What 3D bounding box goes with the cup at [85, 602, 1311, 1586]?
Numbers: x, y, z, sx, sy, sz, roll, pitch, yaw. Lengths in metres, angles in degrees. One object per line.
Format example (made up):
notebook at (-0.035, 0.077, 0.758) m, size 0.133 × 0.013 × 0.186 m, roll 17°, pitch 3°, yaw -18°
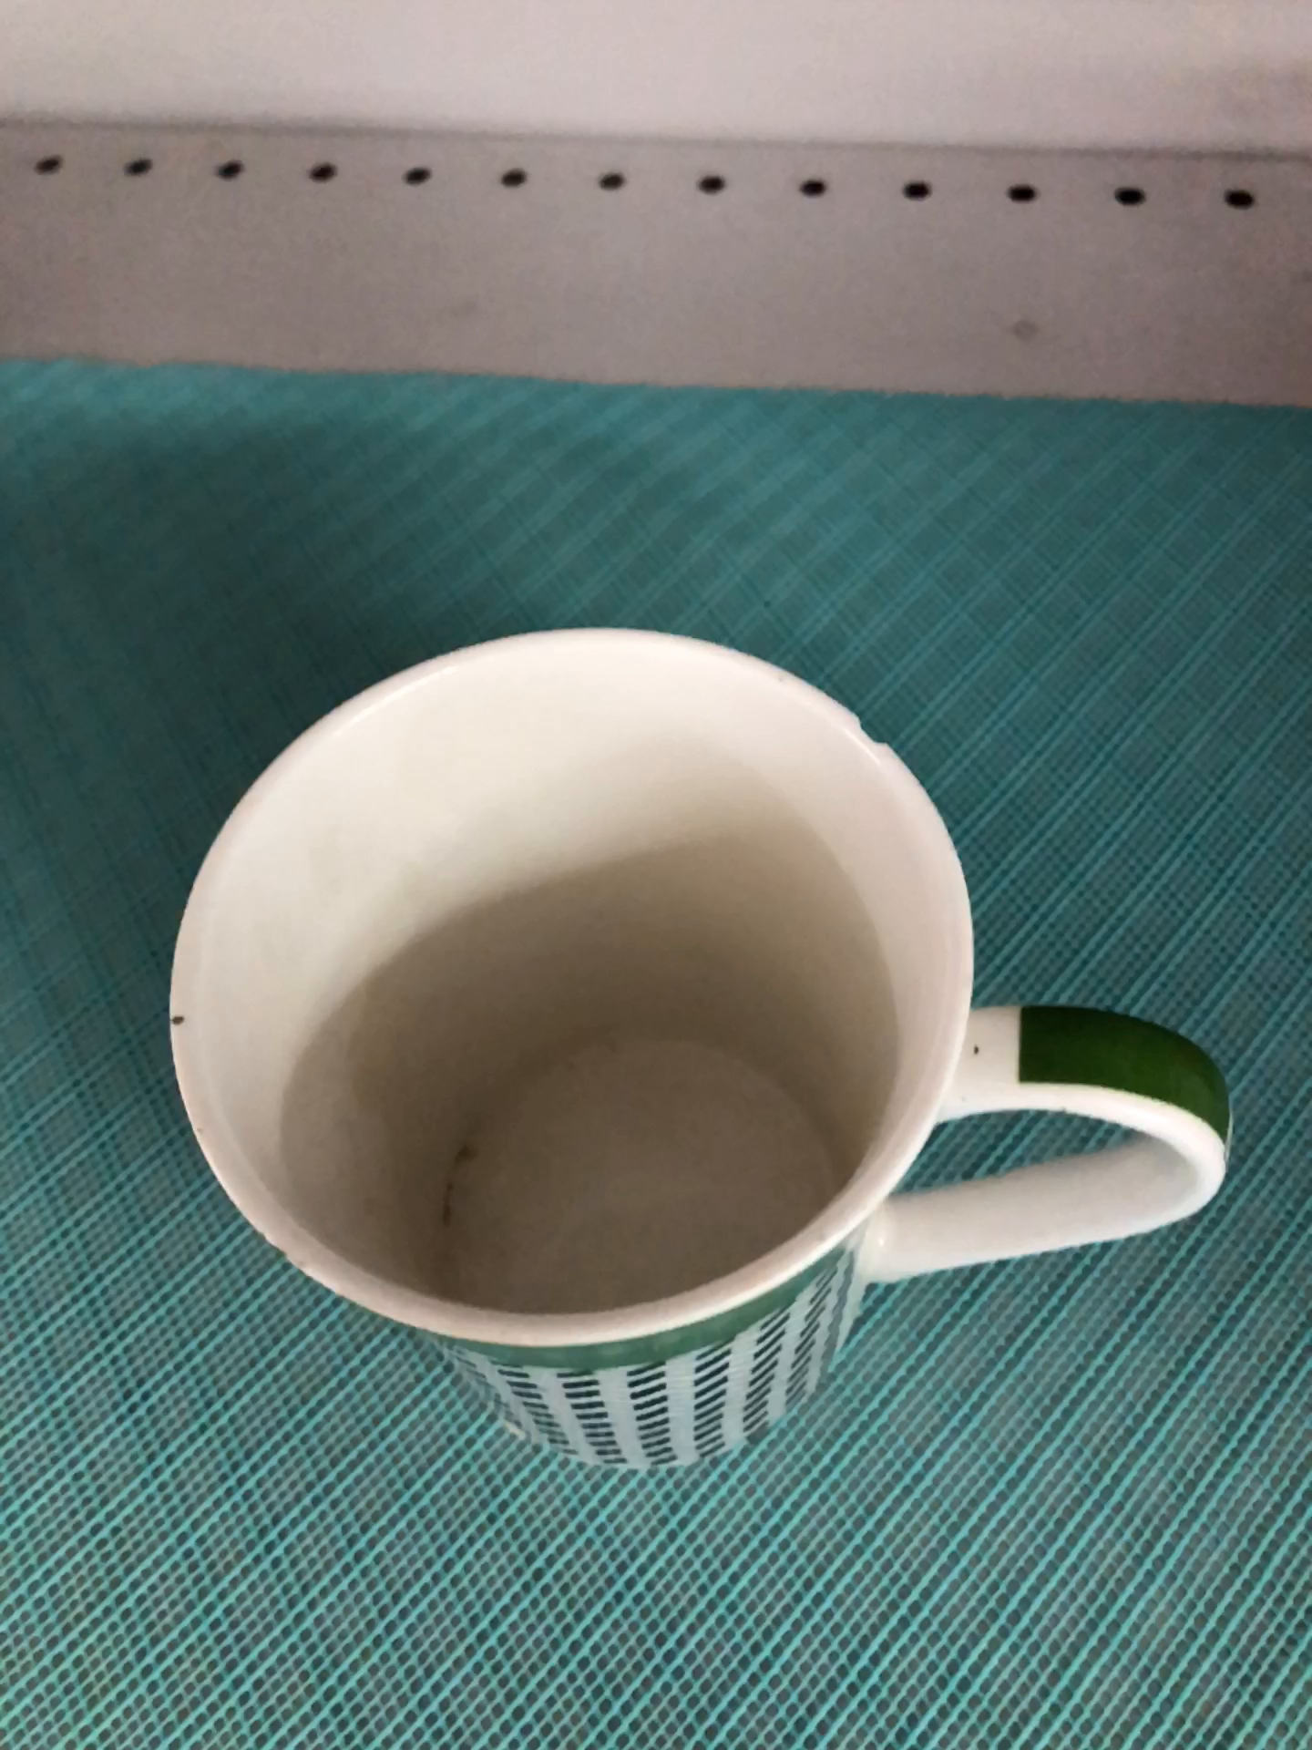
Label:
cup at (0.015, 0.032, 0.174) m, size 0.110 × 0.100 × 0.080 m, roll 1°, pitch 59°, yaw 4°
